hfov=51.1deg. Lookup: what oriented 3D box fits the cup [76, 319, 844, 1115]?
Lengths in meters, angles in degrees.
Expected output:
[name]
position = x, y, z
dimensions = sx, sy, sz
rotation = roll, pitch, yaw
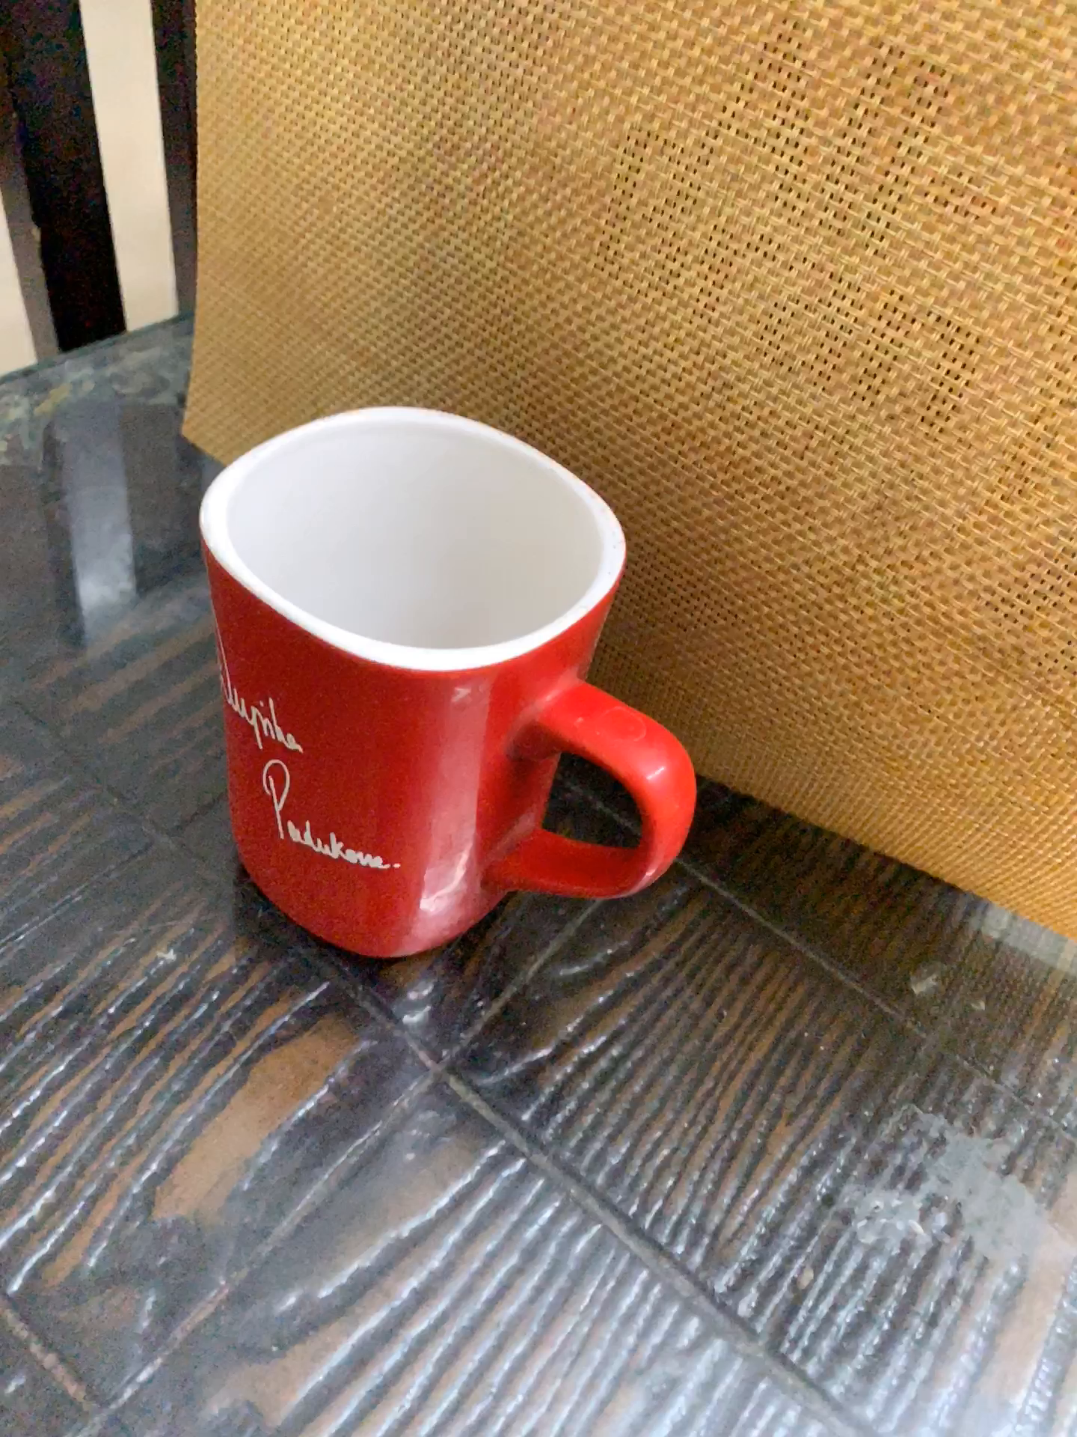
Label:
[cup]
position = -0.016, -0.003, 0.202
dimensions = 0.096, 0.085, 0.070
rotation = 31, 47, 18
